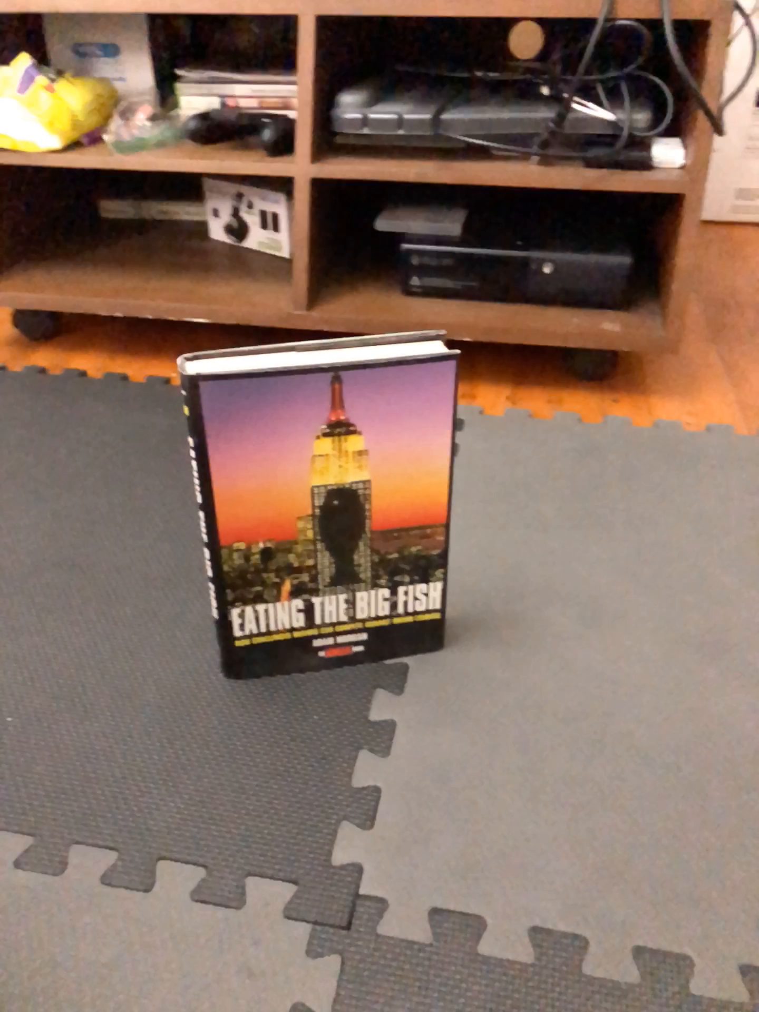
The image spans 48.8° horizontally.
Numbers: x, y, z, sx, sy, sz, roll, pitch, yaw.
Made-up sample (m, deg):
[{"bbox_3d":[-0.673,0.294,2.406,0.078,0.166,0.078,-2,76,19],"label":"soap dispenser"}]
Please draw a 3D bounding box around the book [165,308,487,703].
[{"bbox_3d":[-0.031,0.009,0.560,0.180,0.258,0.050,-8,36,-11],"label":"book"}]
